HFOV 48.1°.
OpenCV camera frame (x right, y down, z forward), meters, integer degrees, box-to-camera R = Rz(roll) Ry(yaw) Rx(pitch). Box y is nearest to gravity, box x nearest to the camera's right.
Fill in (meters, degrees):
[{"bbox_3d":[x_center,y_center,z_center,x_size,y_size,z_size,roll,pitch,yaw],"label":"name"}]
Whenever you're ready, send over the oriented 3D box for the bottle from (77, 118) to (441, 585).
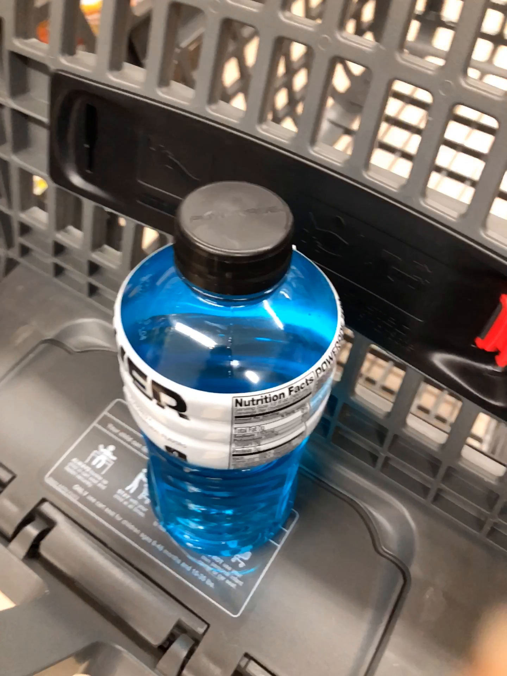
[{"bbox_3d":[-0.009,0.026,0.270,0.100,0.220,0.100,3,48,-3],"label":"bottle"}]
